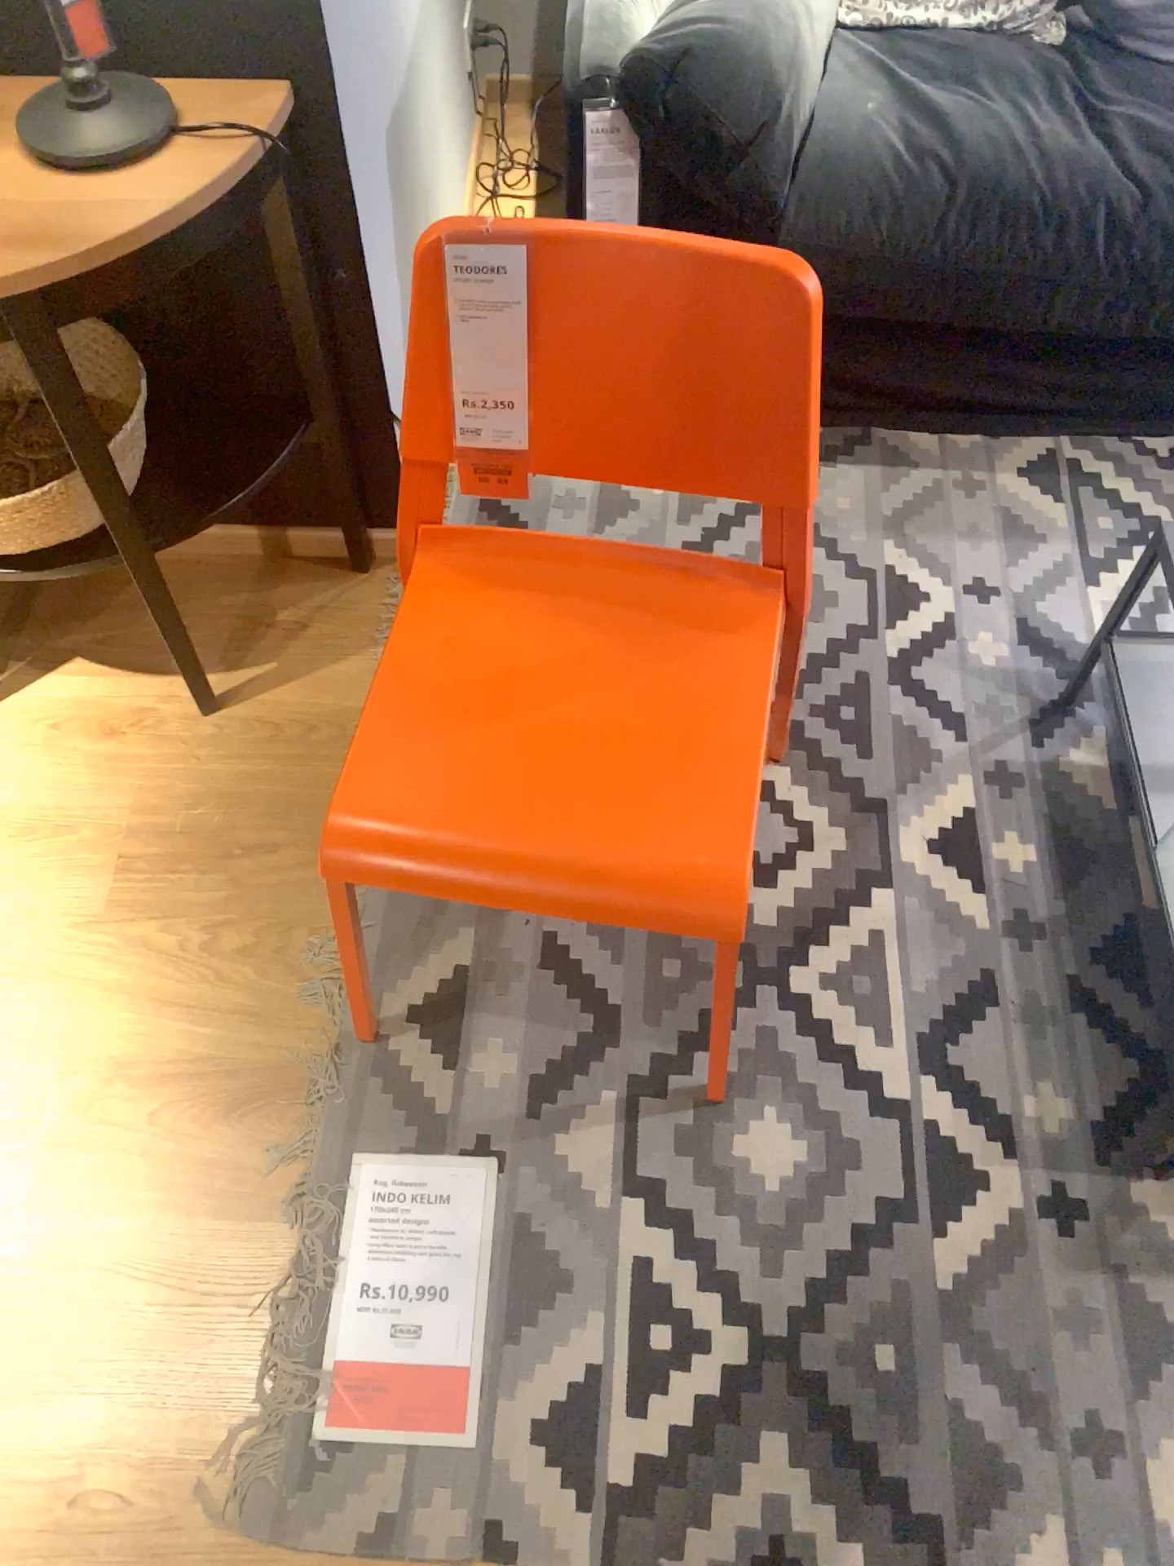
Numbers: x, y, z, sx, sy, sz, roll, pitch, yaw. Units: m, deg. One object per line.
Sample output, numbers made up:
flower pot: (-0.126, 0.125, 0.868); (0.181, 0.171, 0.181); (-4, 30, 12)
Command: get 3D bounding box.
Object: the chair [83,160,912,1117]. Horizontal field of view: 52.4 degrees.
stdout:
chair: (-0.023, -0.085, 1.183); (0.510, 0.738, 0.541); (8, 58, 5)
